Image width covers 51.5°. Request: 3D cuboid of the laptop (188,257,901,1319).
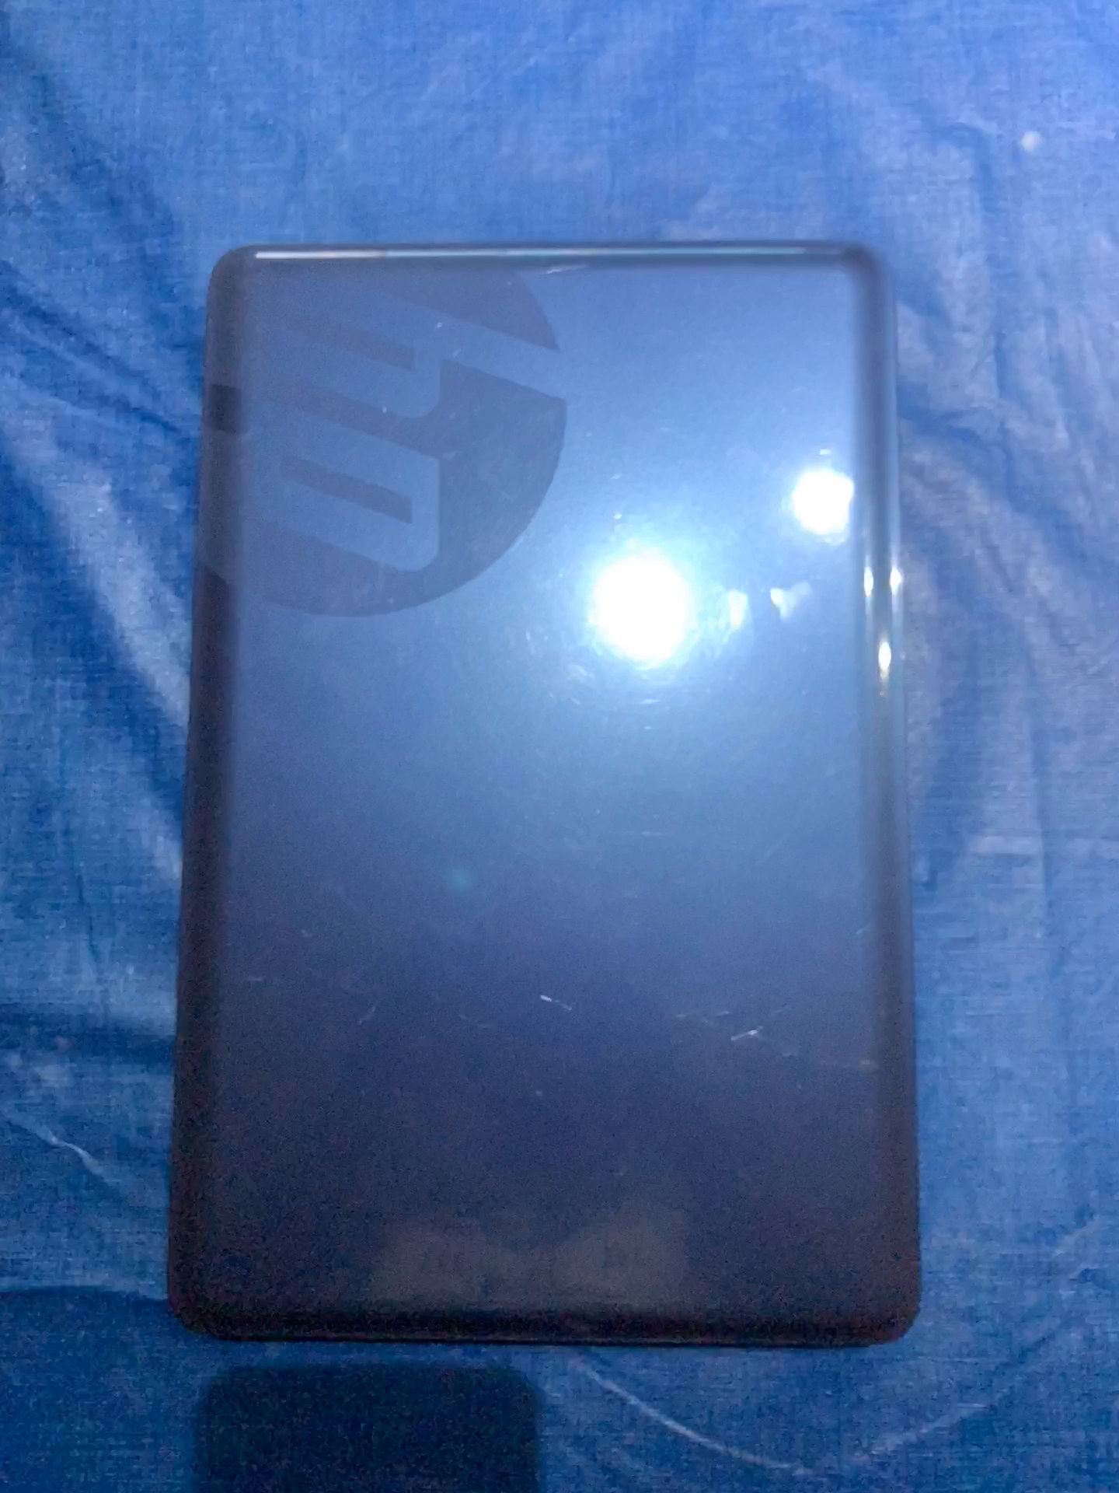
[{"bbox_3d":[-0.004,0.008,0.403,0.235,0.009,0.363,0,85,1],"label":"laptop"}]
